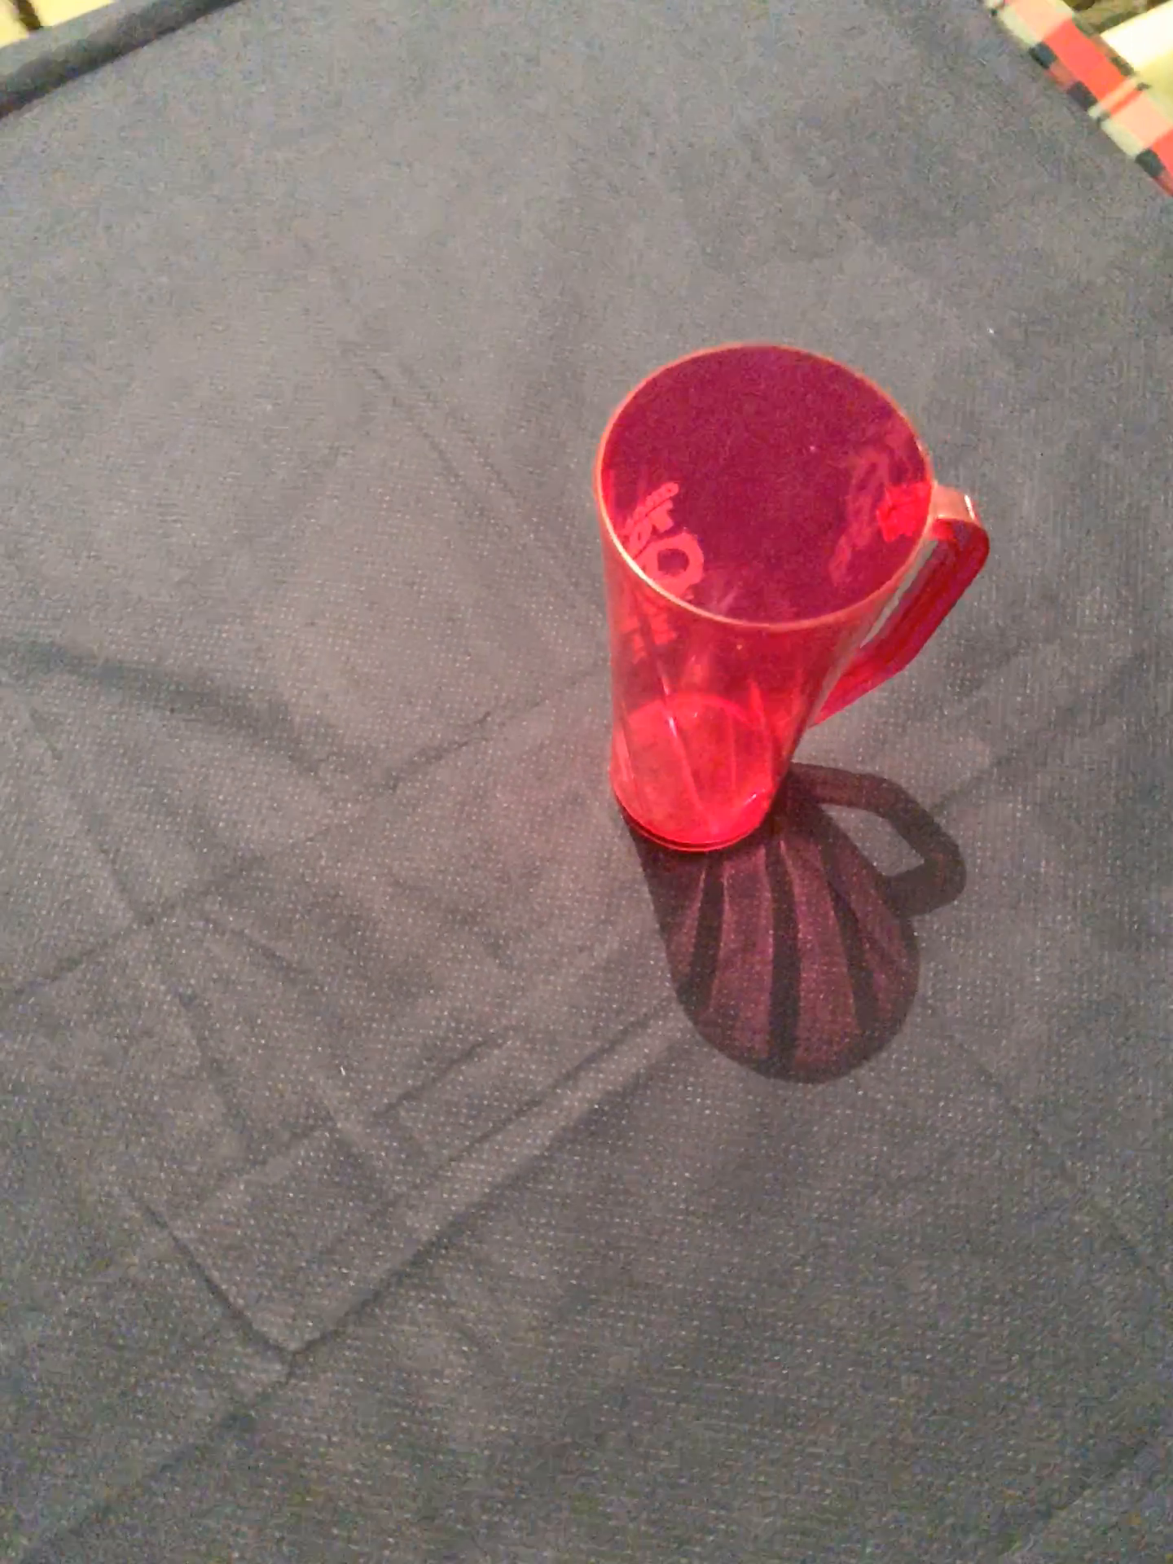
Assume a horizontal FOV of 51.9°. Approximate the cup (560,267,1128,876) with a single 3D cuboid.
[{"bbox_3d":[0.050,-0.040,0.322,0.100,0.170,0.070,-9,70,-3],"label":"cup"}]
